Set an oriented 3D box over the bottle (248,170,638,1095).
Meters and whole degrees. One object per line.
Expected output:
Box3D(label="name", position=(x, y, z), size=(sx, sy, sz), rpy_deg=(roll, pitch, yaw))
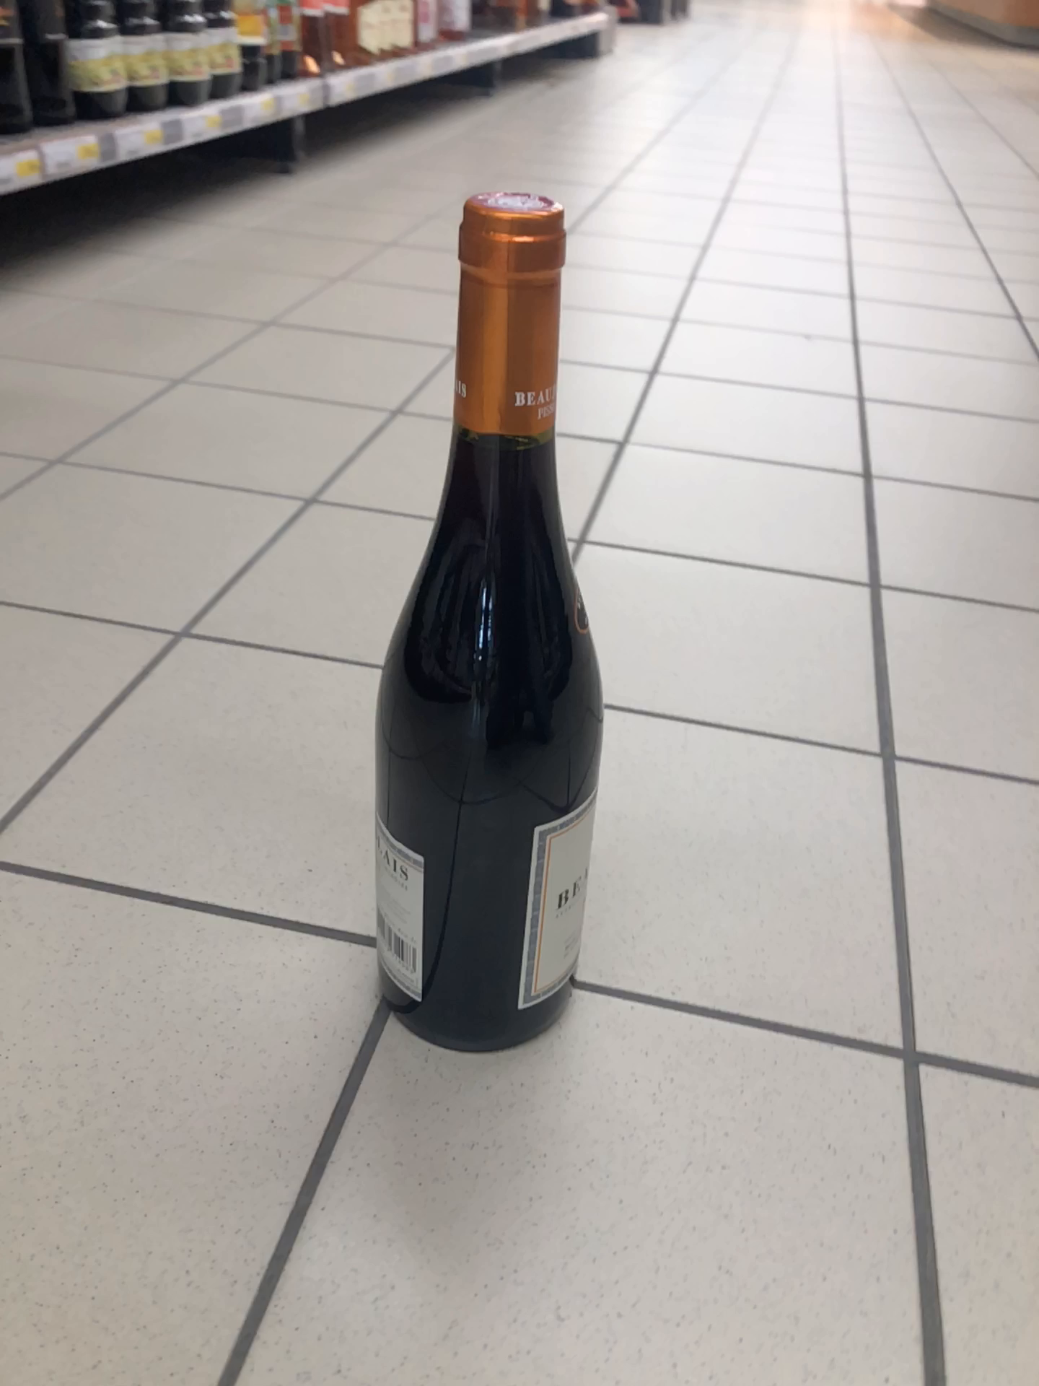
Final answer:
Box3D(label="bottle", position=(-0.023, -0.005, 0.377), size=(0.090, 0.288, 0.091), rpy_deg=(3, 32, -2))
